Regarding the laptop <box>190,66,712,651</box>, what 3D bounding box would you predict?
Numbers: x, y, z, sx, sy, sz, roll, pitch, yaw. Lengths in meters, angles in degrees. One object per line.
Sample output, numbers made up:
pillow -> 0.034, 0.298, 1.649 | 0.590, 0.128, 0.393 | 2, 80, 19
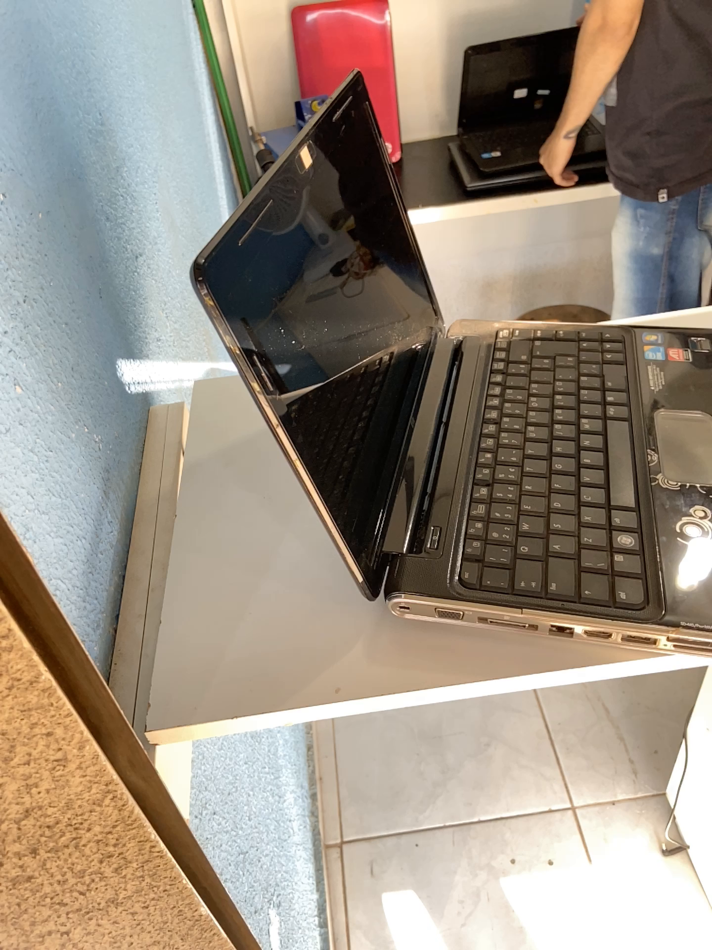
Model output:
laptop -> 0.122, -0.102, 0.476 | 0.301, 0.211, 0.323 | 4, 42, 13
